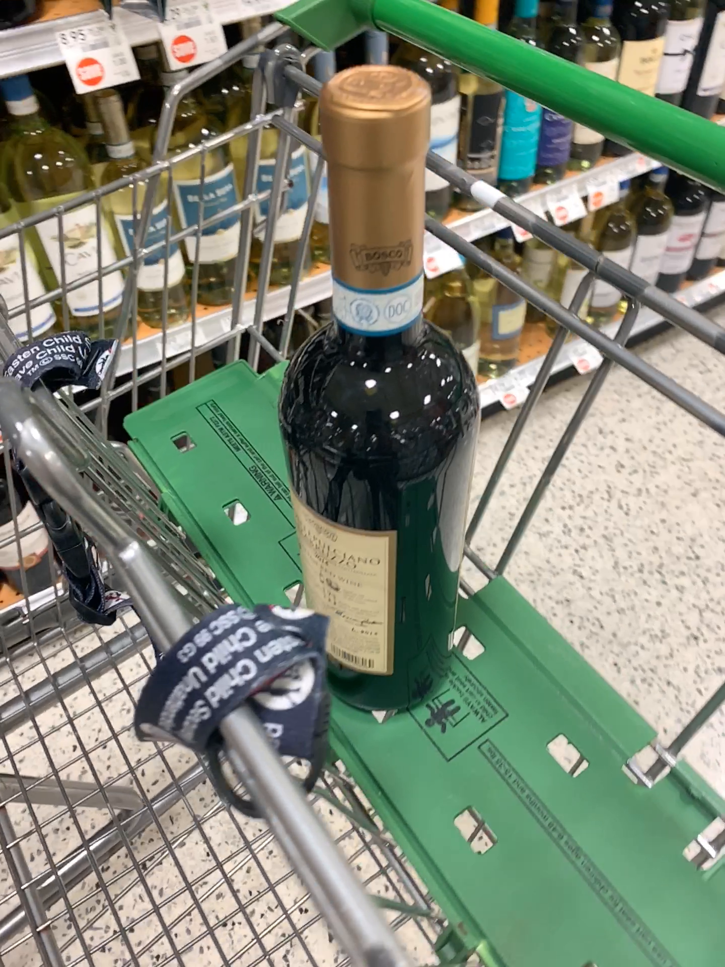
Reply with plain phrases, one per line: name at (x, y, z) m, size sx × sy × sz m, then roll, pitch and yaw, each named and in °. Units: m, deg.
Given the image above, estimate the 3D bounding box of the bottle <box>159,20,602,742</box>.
bottle at (0.009, -0.008, 0.296) m, size 0.080 × 0.277 × 0.080 m, roll -1°, pitch 49°, yaw 1°
